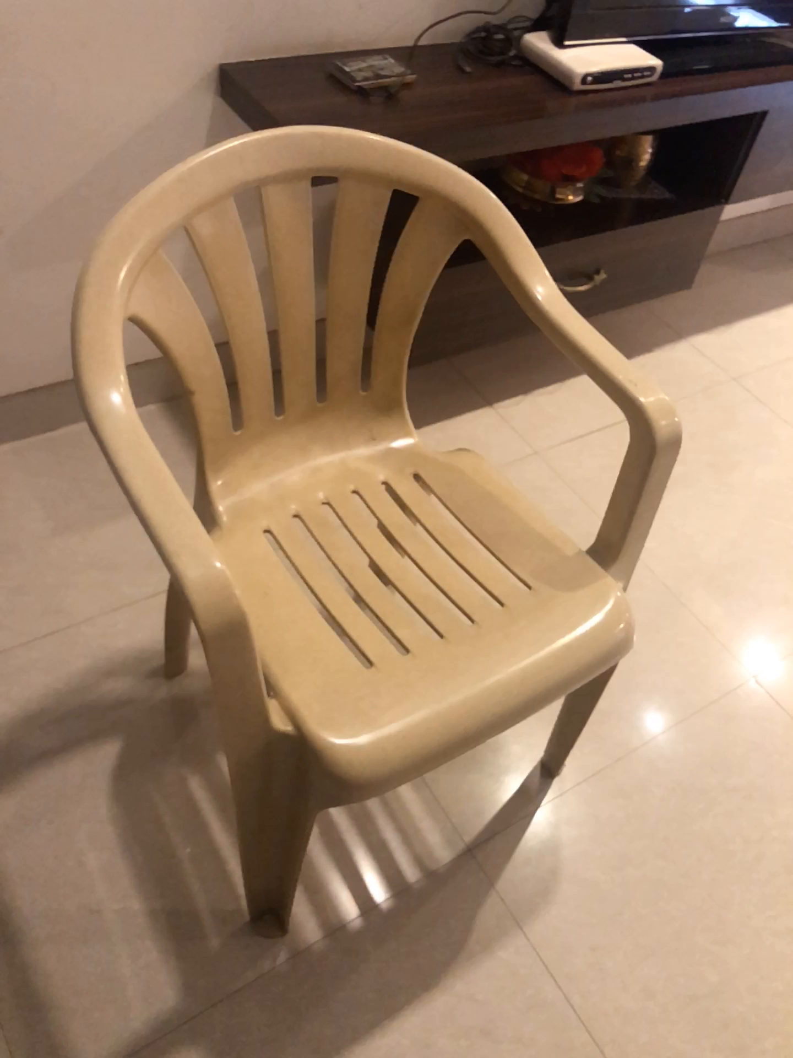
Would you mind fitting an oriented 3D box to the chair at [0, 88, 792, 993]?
[{"bbox_3d":[-0.030,0.016,1.069,0.571,0.775,0.593,-22,56,-27],"label":"chair"}]
